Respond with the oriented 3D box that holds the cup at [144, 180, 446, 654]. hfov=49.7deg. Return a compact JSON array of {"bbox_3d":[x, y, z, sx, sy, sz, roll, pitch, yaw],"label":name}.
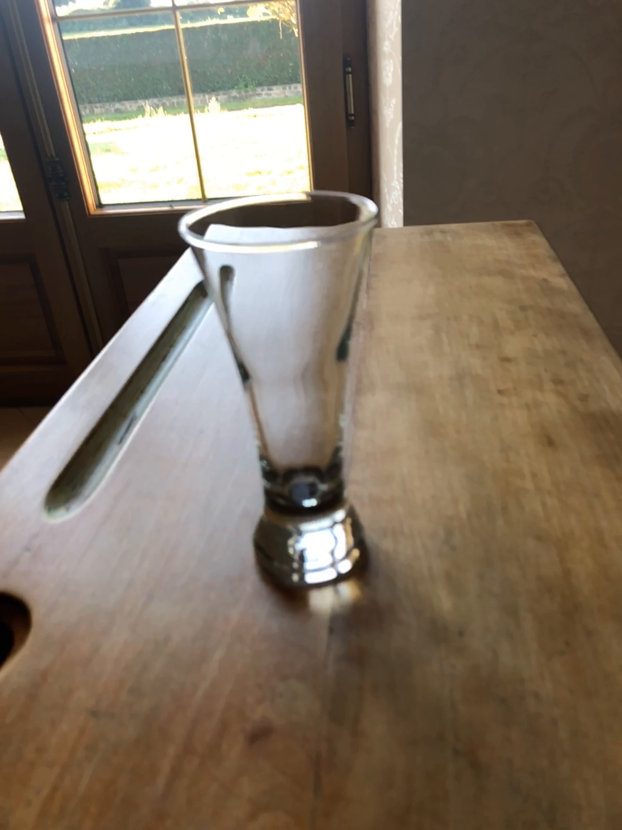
[{"bbox_3d":[-0.003,-0.002,0.260,0.070,0.149,0.080,-20,33,-24],"label":"cup"}]
